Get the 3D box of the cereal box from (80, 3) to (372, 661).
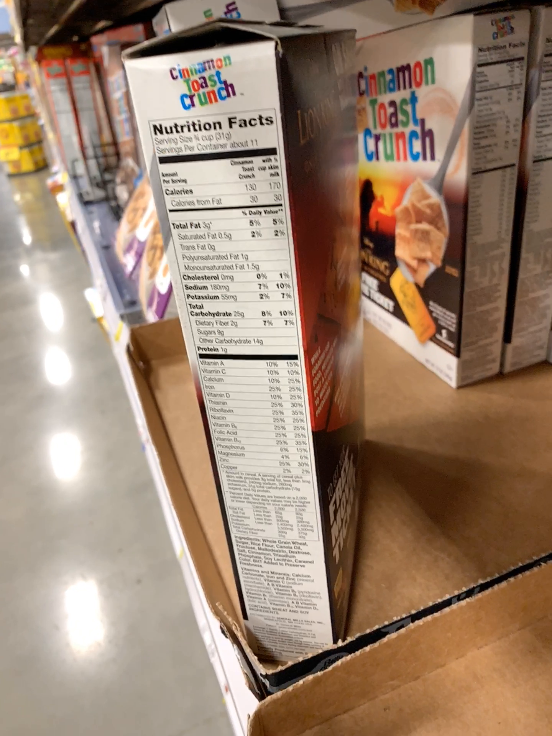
[{"bbox_3d":[0.009,-0.023,0.307,0.060,0.279,0.191,0,30,14],"label":"cereal box"}]
